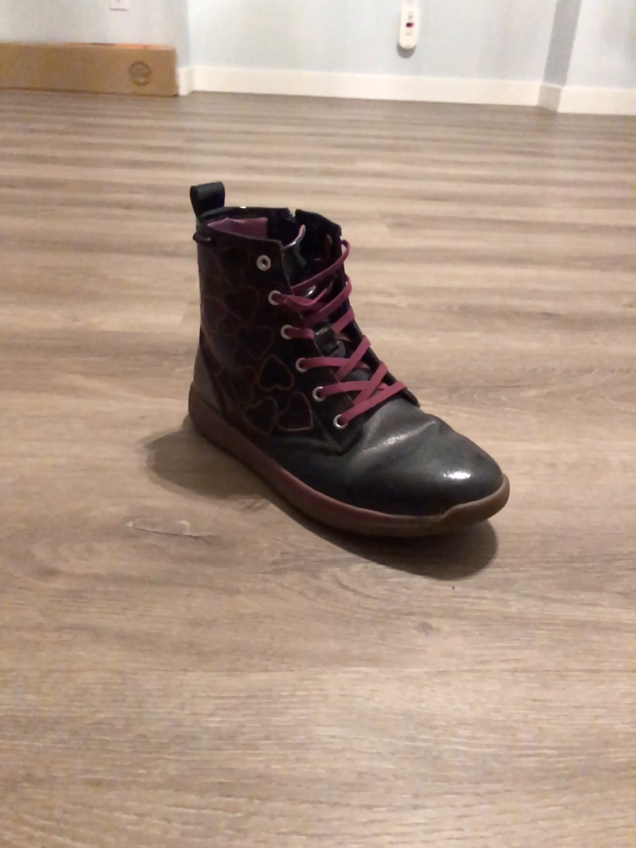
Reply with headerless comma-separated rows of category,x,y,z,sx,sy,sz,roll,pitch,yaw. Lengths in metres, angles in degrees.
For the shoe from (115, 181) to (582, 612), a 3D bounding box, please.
shoe,0.000,-0.035,0.394,0.231,0.149,0.100,26,36,37
